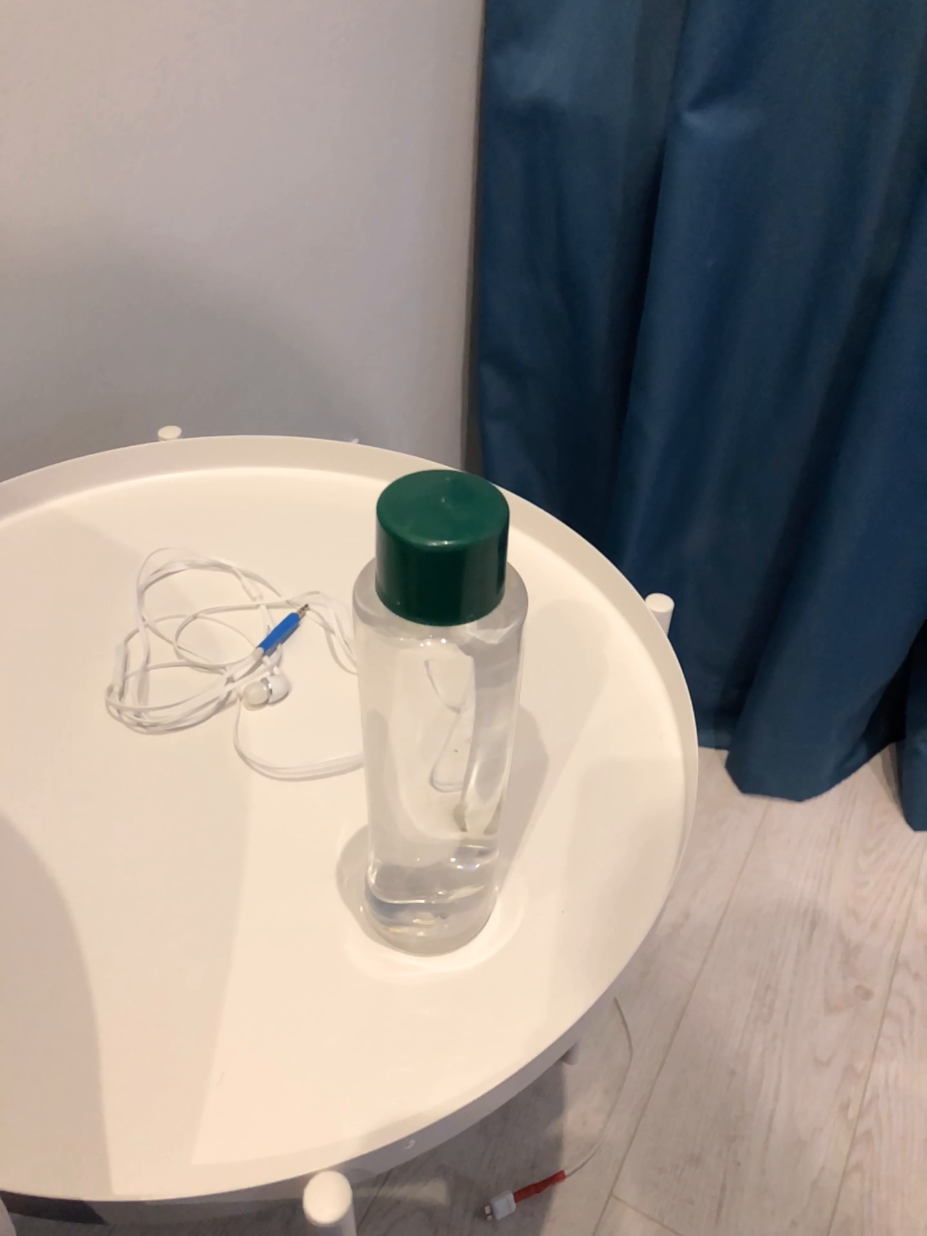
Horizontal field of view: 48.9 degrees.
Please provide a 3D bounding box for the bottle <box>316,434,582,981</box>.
[{"bbox_3d":[-0.008,0.041,0.363,0.059,0.199,0.052,-23,46,-27],"label":"bottle"}]
